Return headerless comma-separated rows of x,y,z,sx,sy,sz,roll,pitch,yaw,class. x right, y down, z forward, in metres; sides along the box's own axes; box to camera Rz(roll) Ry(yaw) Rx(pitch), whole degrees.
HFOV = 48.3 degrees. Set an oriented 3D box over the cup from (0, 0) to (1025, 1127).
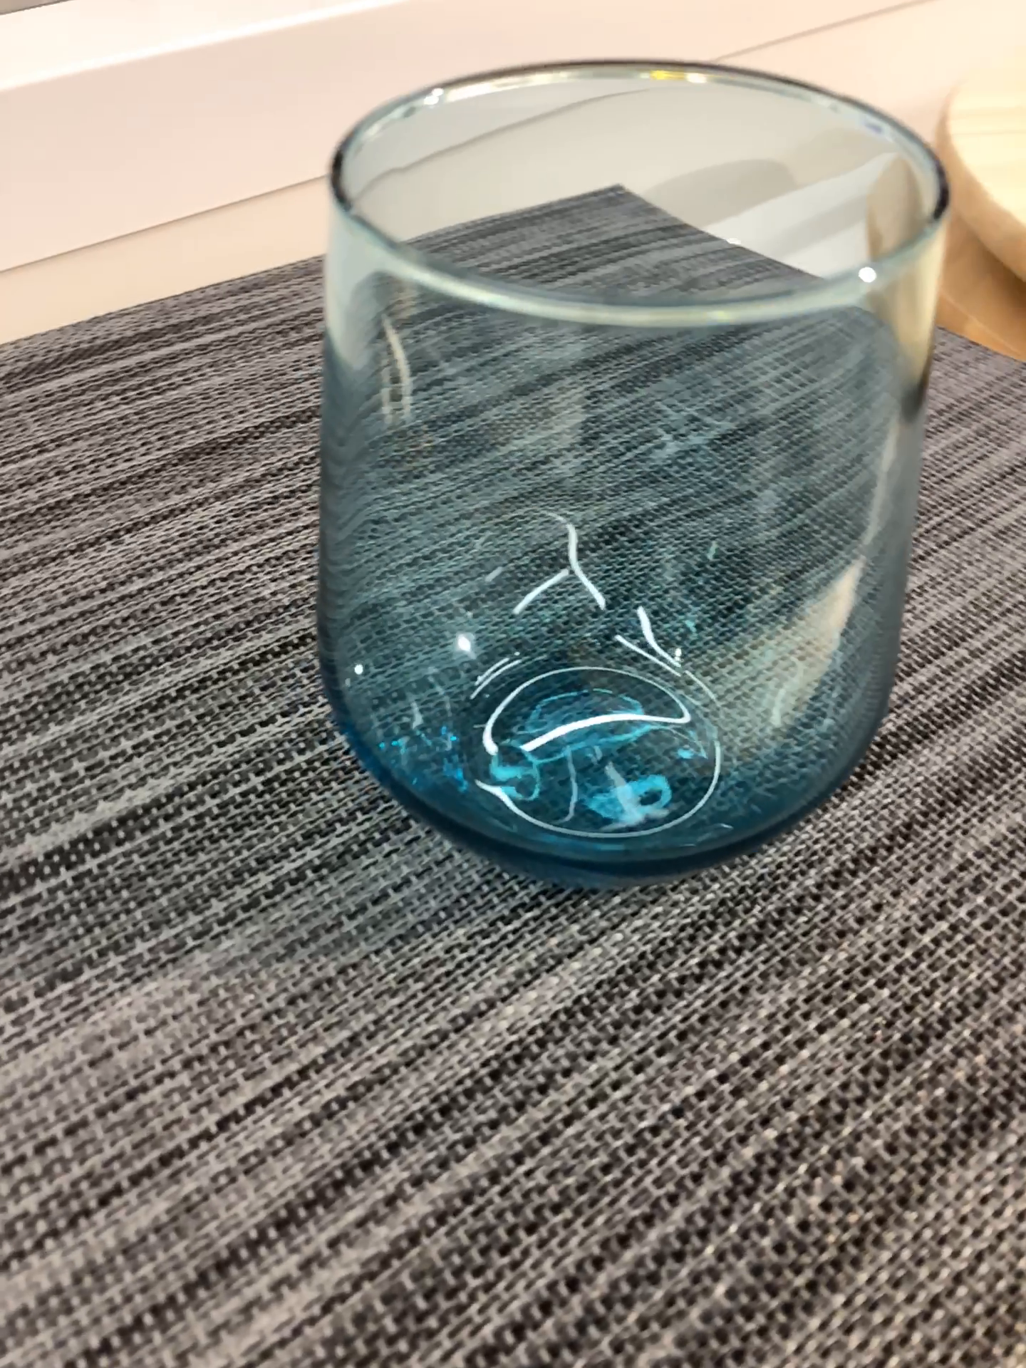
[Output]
0.008,-0.031,0.187,0.120,0.120,0.120,0,44,0,cup
